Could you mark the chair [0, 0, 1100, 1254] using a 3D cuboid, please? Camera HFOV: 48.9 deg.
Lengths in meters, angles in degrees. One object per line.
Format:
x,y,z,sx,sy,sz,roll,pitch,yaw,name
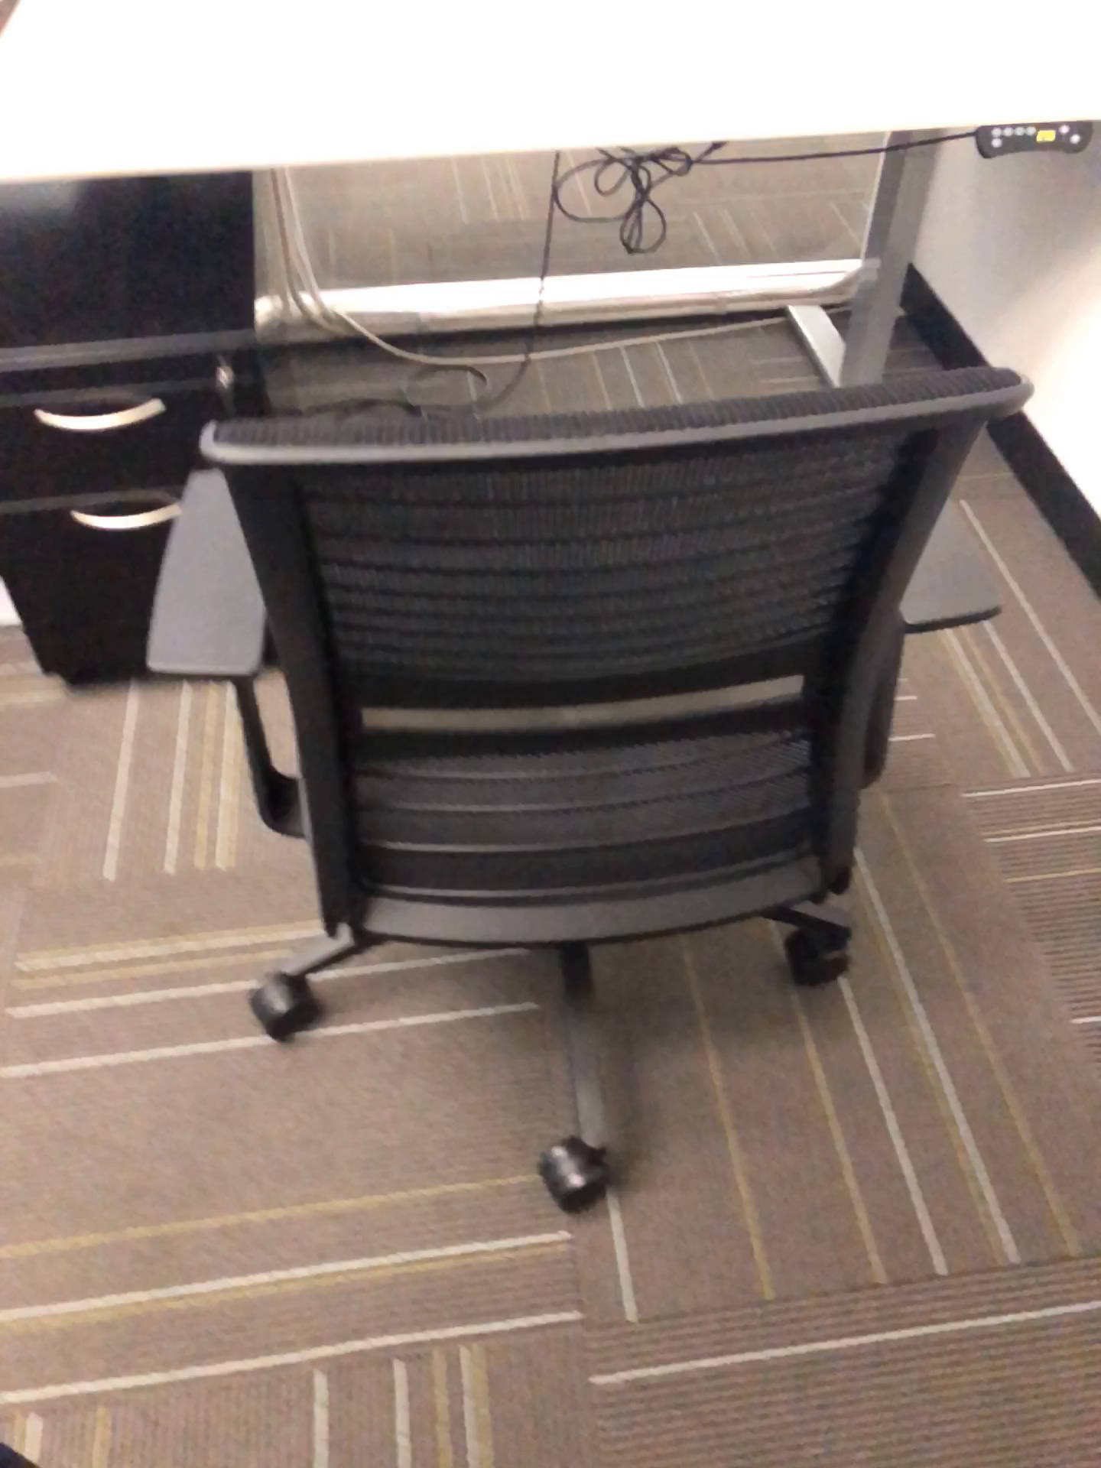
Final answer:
-0.013,-0.097,1.112,0.720,0.906,0.683,-7,47,-6,chair
